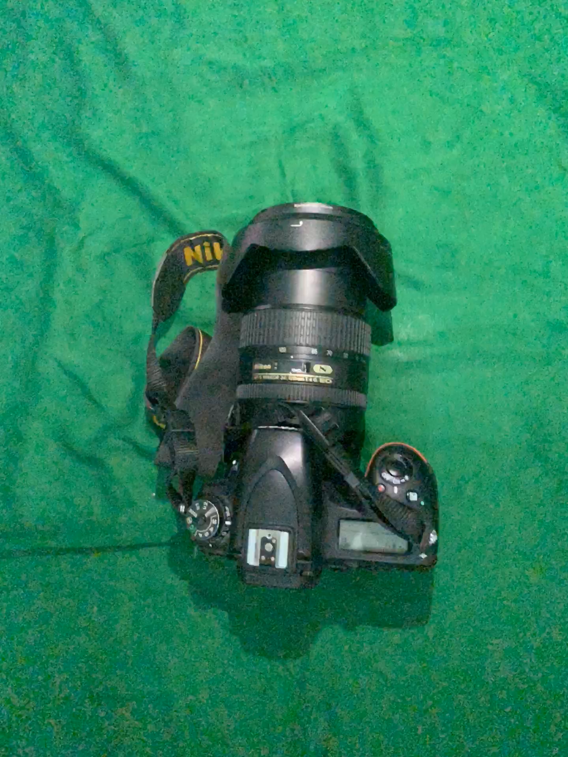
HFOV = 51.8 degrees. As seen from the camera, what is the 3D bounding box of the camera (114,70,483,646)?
[{"bbox_3d":[0.020,-0.018,0.352,0.170,0.100,0.290,3,79,12],"label":"camera"}]
